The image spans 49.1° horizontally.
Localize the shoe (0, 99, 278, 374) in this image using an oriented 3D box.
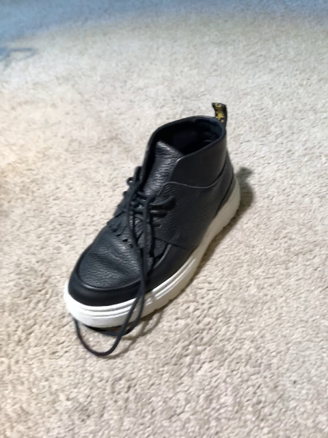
[{"bbox_3d":[-0.005,-0.002,0.367,0.107,0.111,0.263,29,56,31],"label":"shoe"}]
